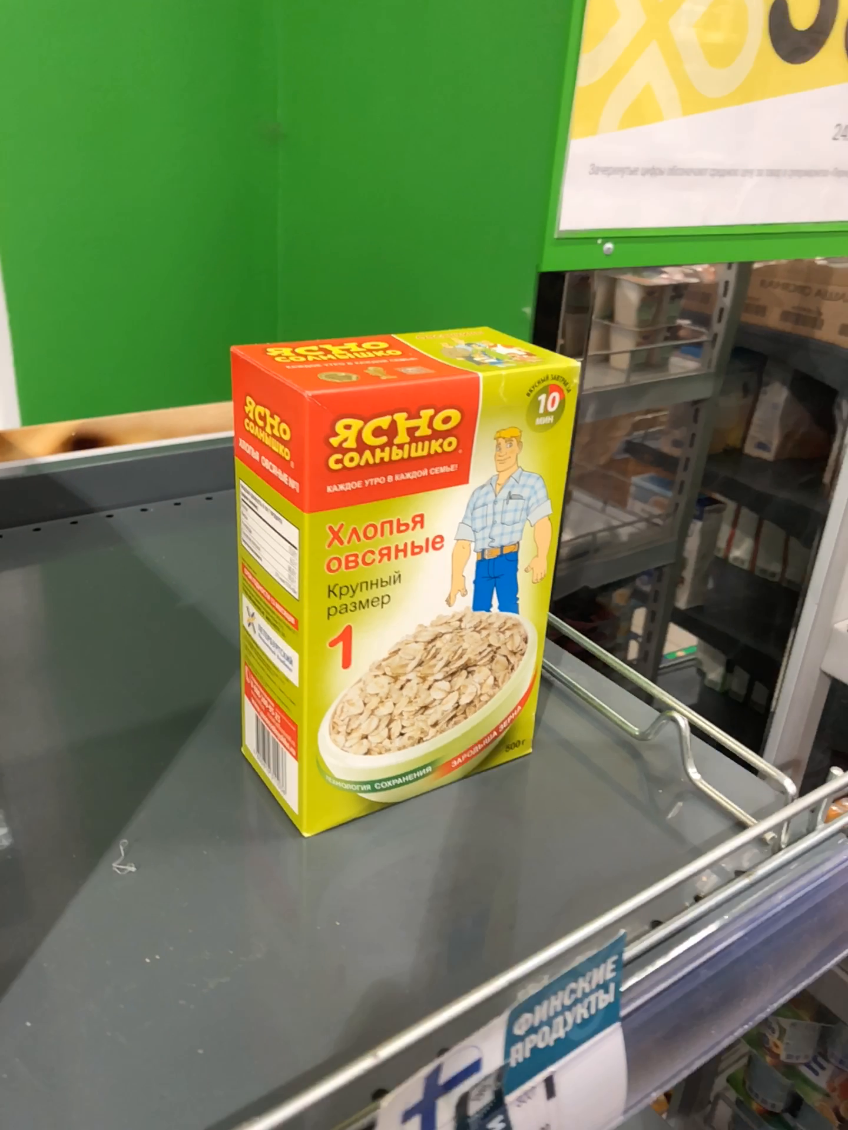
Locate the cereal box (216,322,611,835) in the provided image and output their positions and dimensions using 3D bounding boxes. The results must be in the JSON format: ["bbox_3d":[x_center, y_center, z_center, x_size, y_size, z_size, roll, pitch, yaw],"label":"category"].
[{"bbox_3d":[-0.009,-0.001,0.399,0.130,0.179,0.080,-13,30,-31],"label":"cereal box"}]
